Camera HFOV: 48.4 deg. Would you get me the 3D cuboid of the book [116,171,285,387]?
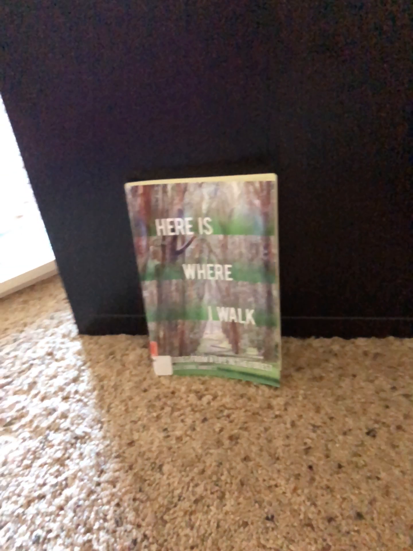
[{"bbox_3d":[0.002,0.011,0.457,0.146,0.212,0.037,-2,21,8],"label":"book"}]
